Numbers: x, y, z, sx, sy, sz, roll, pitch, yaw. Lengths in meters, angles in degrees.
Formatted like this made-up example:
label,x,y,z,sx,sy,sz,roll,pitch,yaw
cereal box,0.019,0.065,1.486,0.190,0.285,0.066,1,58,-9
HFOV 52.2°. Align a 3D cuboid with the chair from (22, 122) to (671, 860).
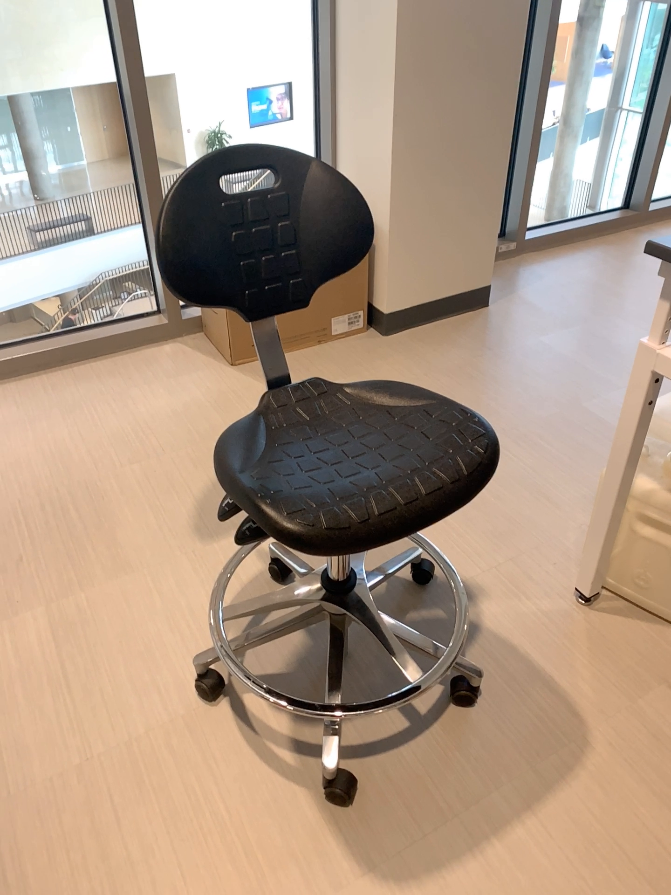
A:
label,x,y,z,sx,sy,sz,roll,pitch,yaw
chair,0.003,0.022,1.248,0.672,0.961,0.664,-24,42,-30
